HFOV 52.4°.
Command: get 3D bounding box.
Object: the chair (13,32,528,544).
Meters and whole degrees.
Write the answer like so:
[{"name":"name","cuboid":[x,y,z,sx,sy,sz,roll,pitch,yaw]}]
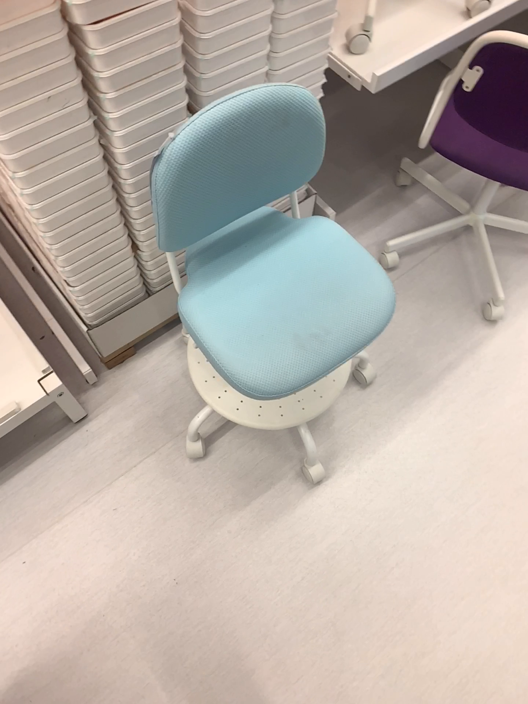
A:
[{"name":"chair","cuboid":[0.008,-0.070,1.168,0.570,0.749,0.611,-36,69,-17]}]
